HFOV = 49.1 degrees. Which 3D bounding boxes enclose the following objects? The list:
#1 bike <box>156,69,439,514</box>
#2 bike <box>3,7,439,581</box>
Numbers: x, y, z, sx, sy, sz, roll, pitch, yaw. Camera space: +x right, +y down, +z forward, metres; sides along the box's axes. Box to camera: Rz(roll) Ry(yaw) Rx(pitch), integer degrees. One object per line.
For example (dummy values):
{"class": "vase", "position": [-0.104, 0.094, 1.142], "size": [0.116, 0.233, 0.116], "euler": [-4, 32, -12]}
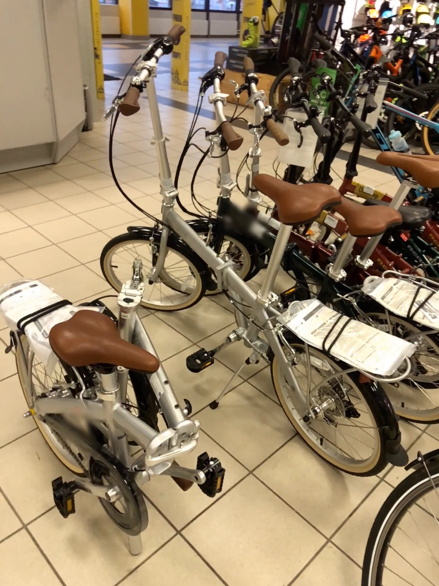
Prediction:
{"class": "bike", "position": [0.342, -0.129, 1.653], "size": [1.142, 1.037, 0.558], "euler": [28, 38, 35]}
{"class": "bike", "position": [-0.025, -0.148, 1.500], "size": [0.554, 1.153, 1.362], "euler": [-23, 41, -38]}
